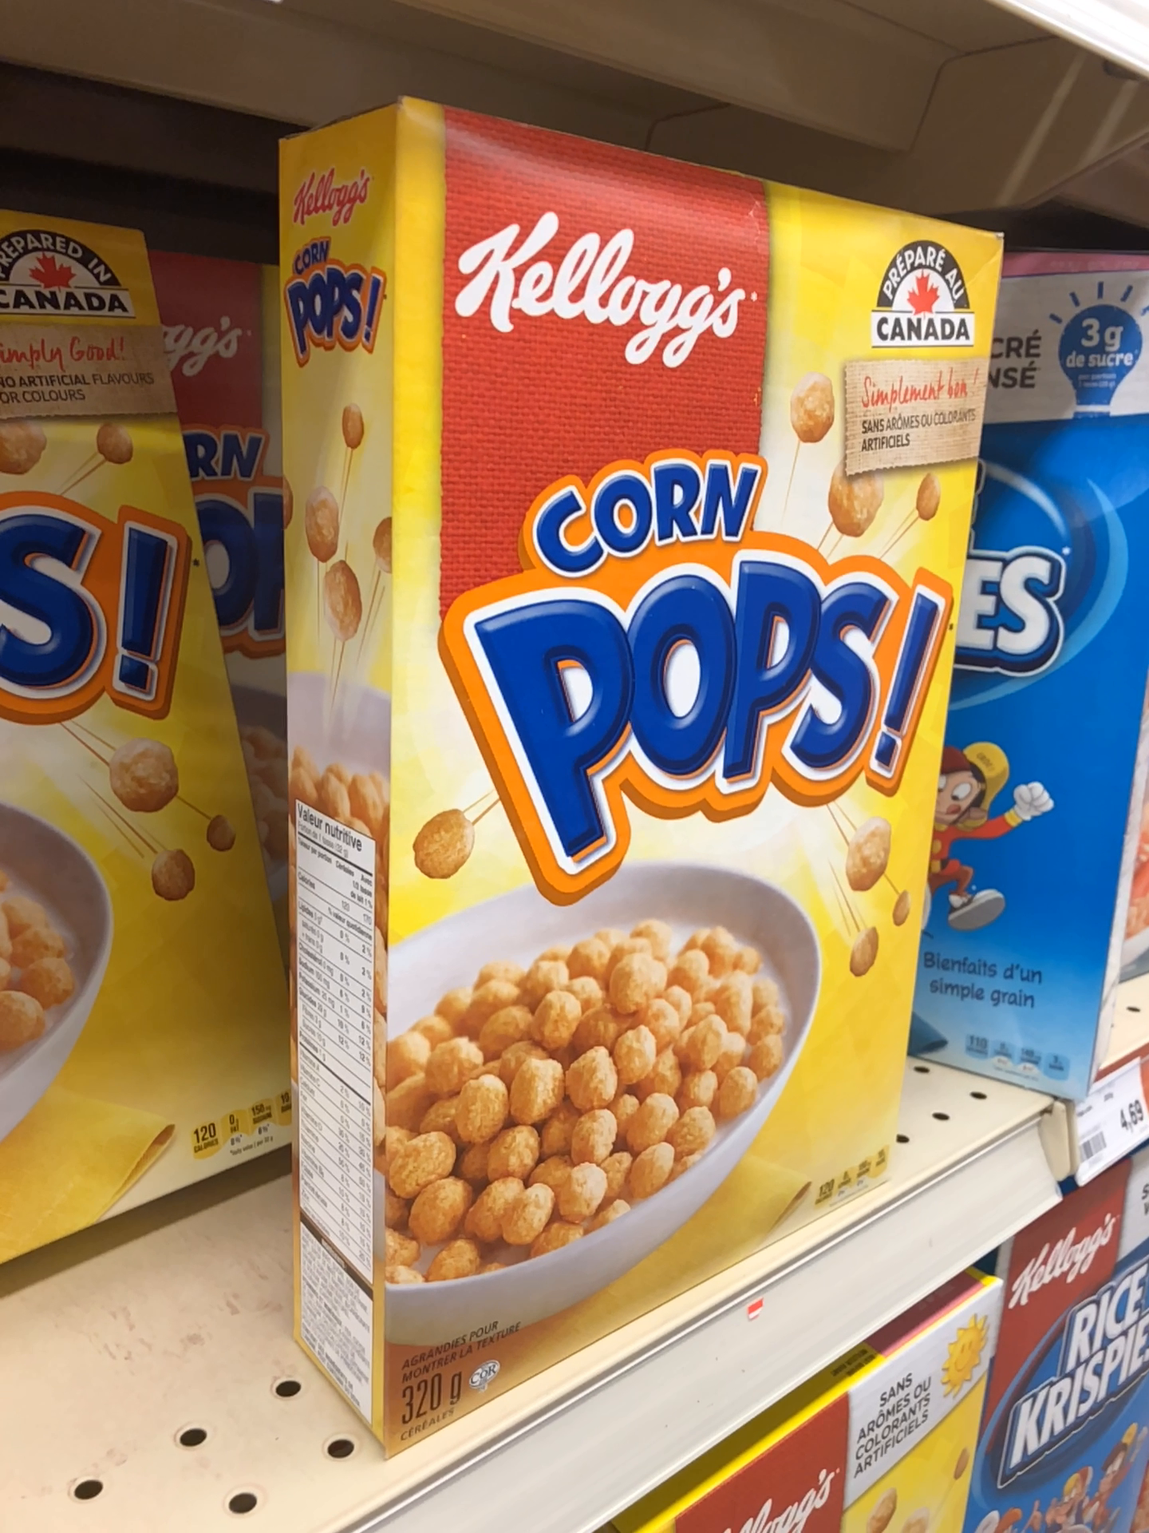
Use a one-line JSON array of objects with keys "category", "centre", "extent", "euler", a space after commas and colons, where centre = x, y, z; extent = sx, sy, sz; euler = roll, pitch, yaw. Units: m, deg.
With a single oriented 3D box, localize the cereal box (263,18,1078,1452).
[{"category": "cereal box", "centre": [0.029, -0.007, 0.338], "extent": [0.210, 0.289, 0.060], "euler": [-9, 19, -39]}]
